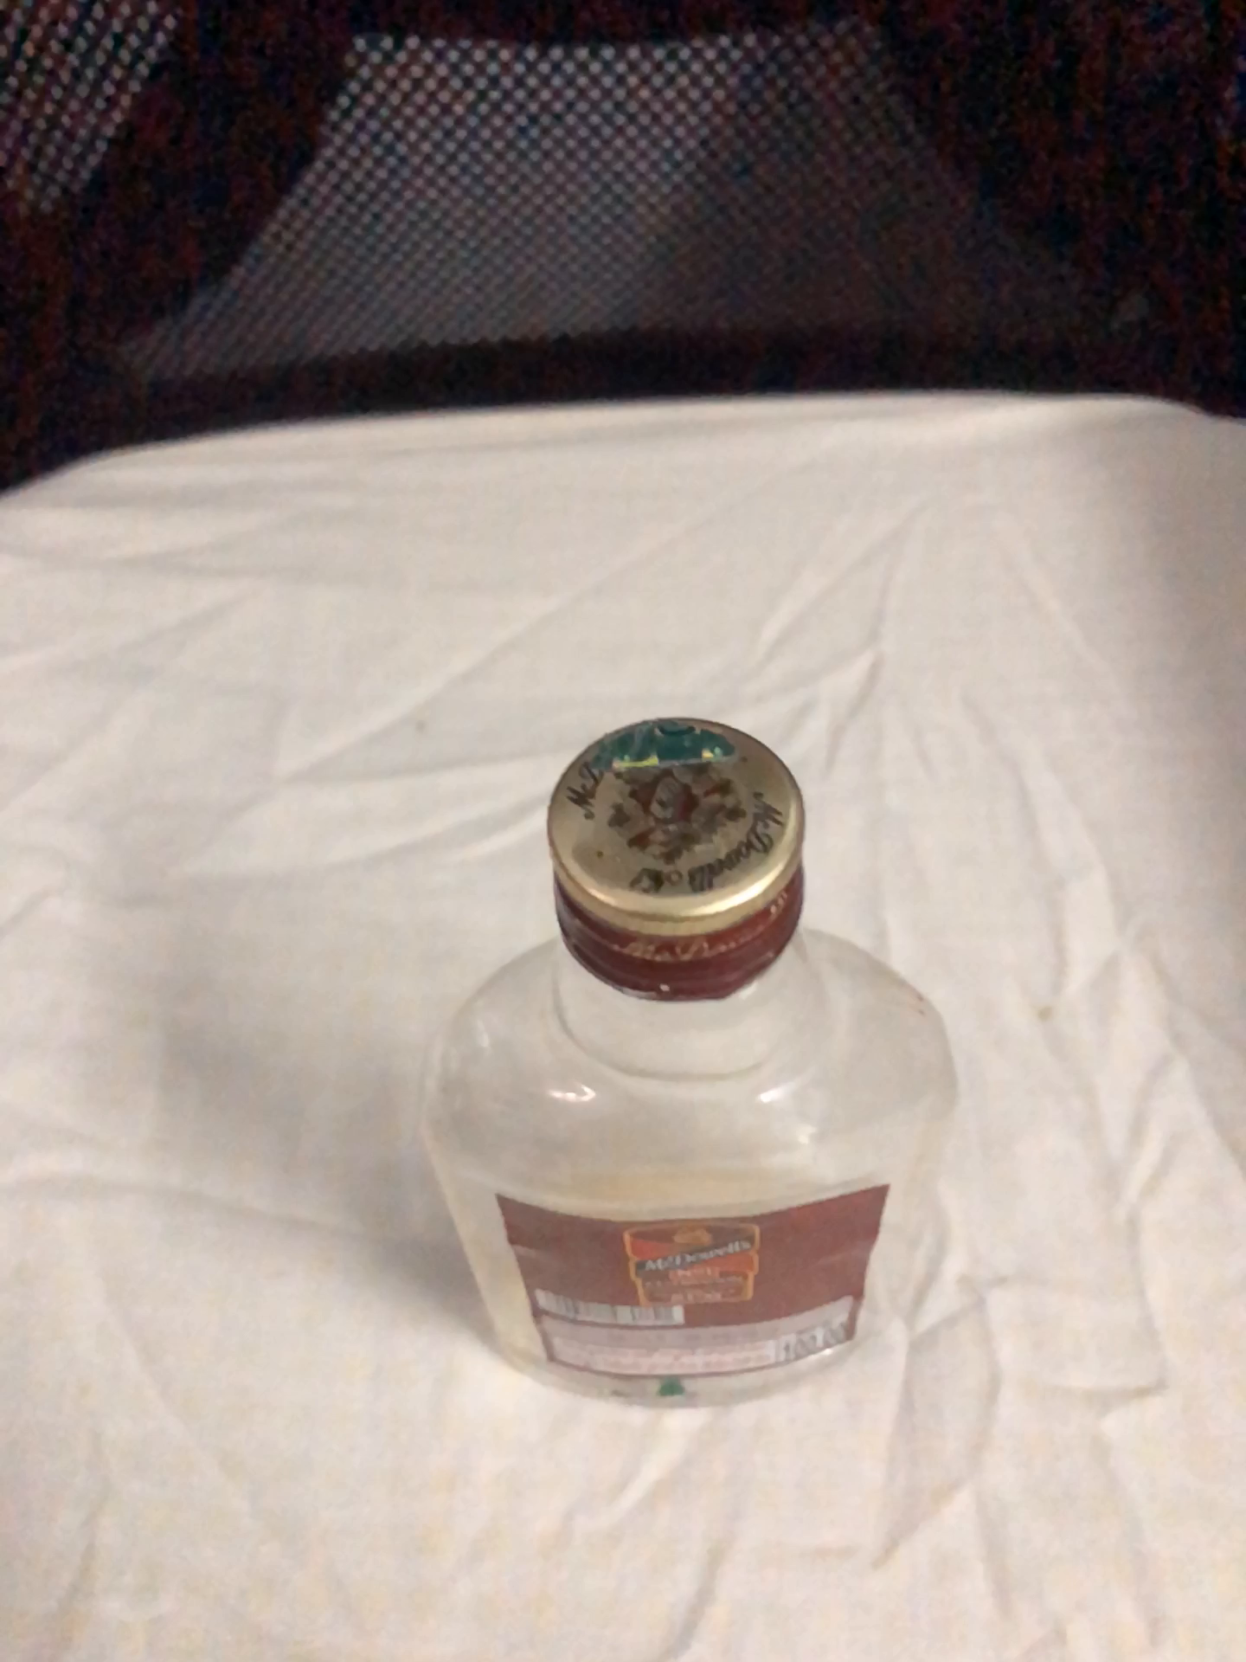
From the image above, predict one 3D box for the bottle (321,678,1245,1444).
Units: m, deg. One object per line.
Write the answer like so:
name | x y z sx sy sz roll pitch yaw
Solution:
bottle | 0.014 0.043 0.189 0.080 0.140 0.040 -3 54 -1
